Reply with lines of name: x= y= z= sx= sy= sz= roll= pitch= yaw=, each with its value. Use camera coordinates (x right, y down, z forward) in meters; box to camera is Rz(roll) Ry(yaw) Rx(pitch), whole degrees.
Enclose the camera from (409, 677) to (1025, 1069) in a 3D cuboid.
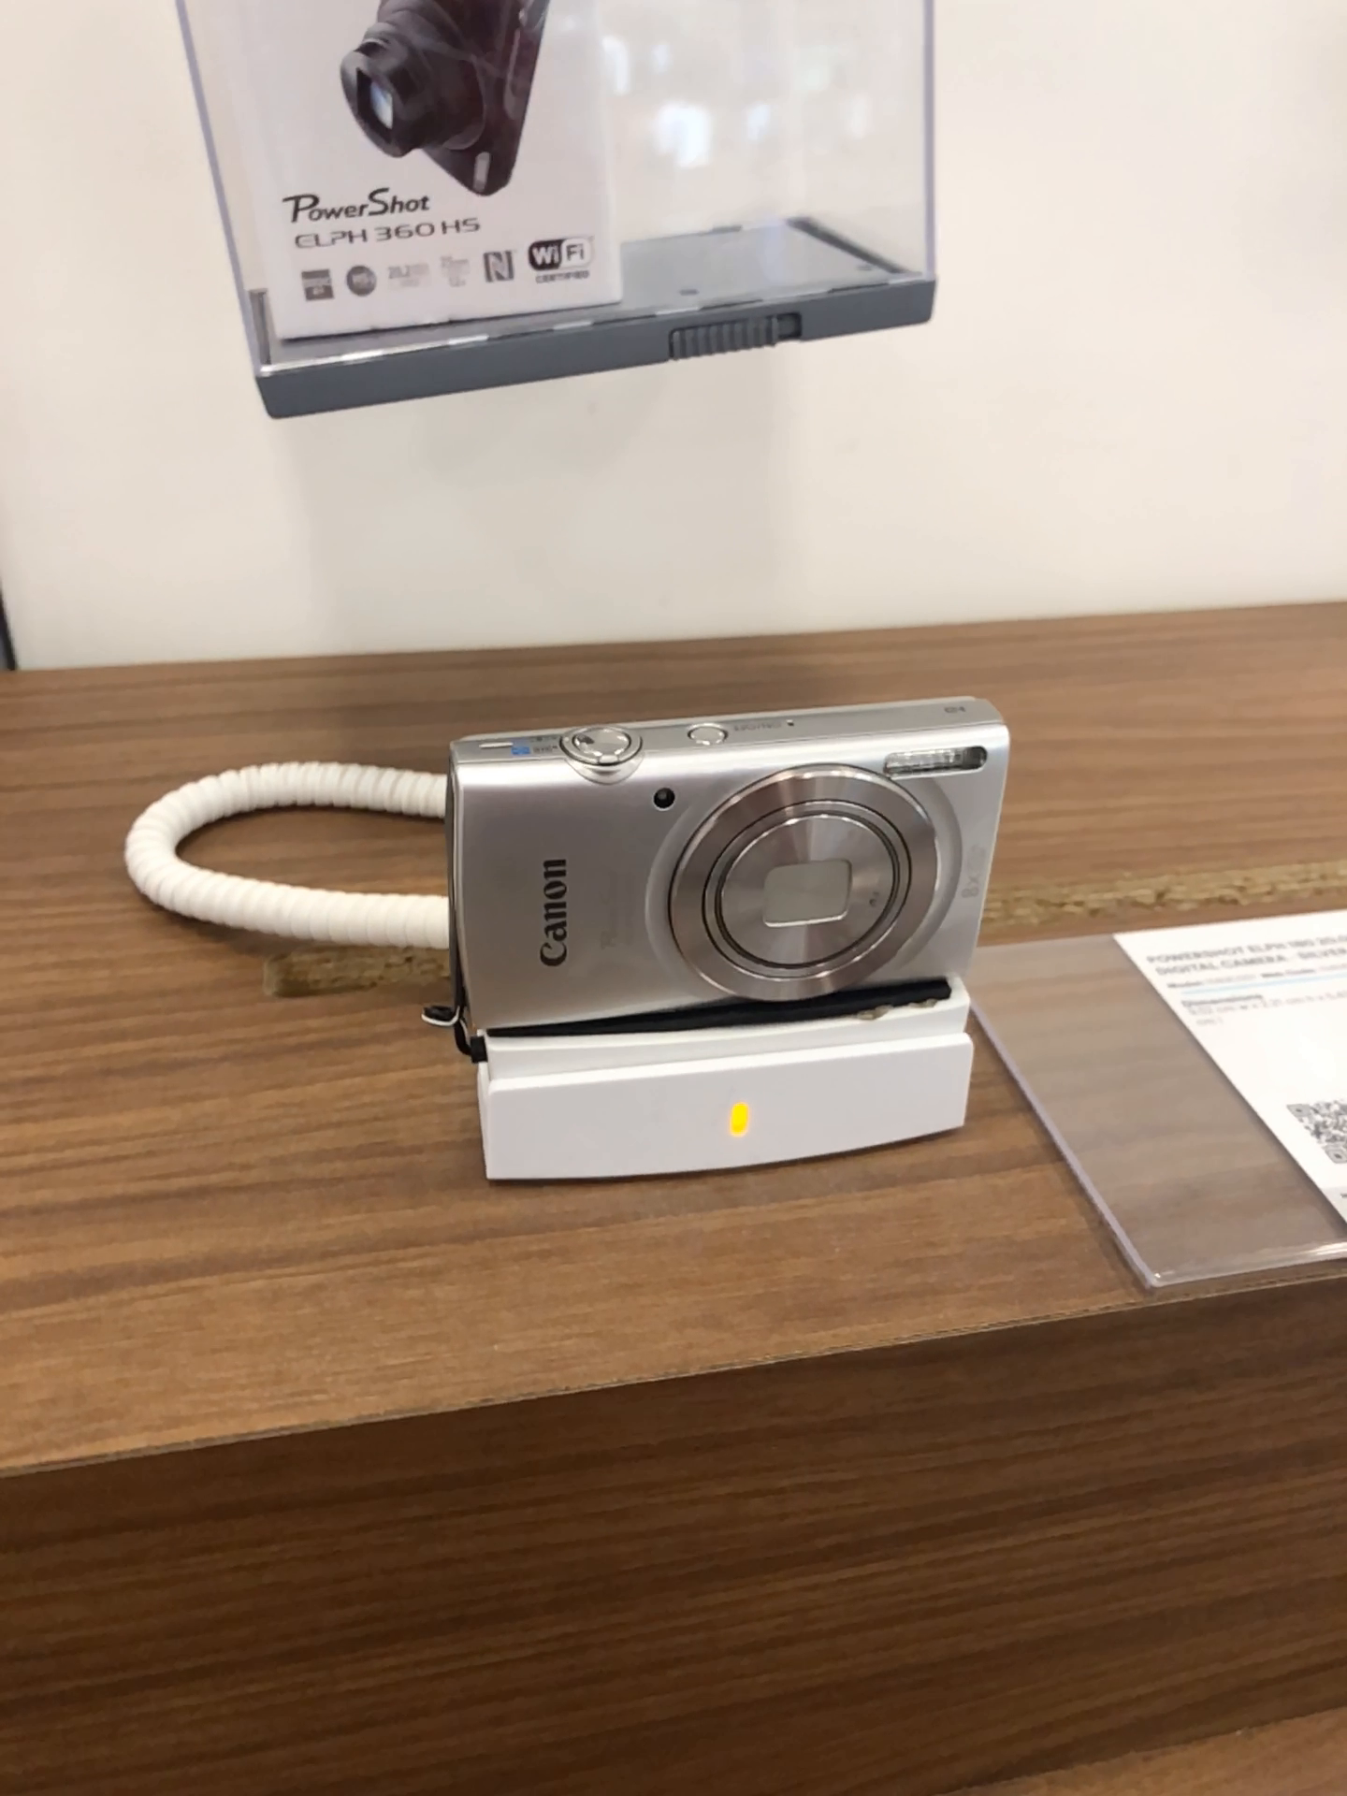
camera: x=0.006 y=-0.004 z=0.268 sx=0.100 sy=0.060 sz=0.020 roll=-6 pitch=37 yaw=-10
